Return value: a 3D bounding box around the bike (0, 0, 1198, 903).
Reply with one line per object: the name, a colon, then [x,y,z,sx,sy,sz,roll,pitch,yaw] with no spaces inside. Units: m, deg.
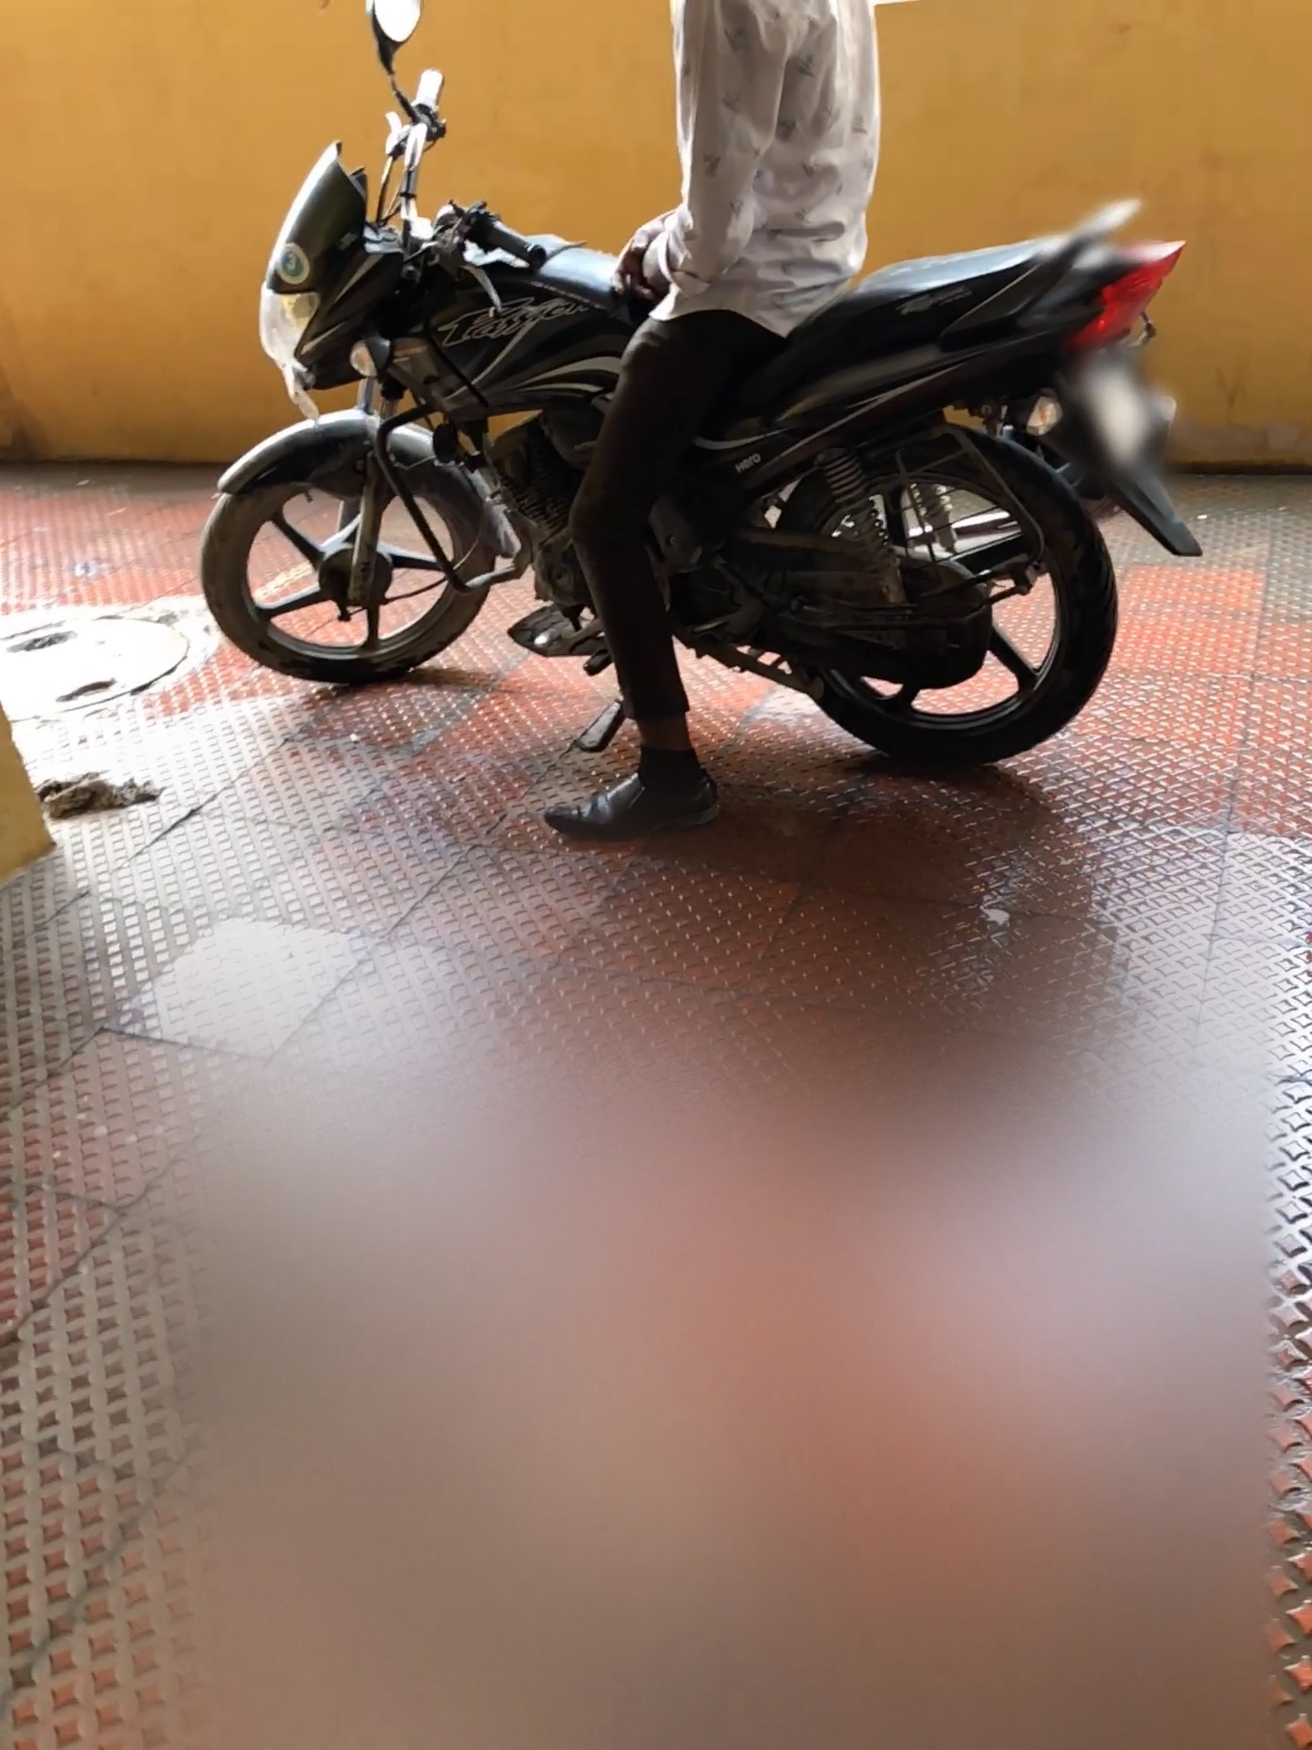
bike: [-0.153,-0.759,2.602,1.874,1.185,0.815,7,35,22]
